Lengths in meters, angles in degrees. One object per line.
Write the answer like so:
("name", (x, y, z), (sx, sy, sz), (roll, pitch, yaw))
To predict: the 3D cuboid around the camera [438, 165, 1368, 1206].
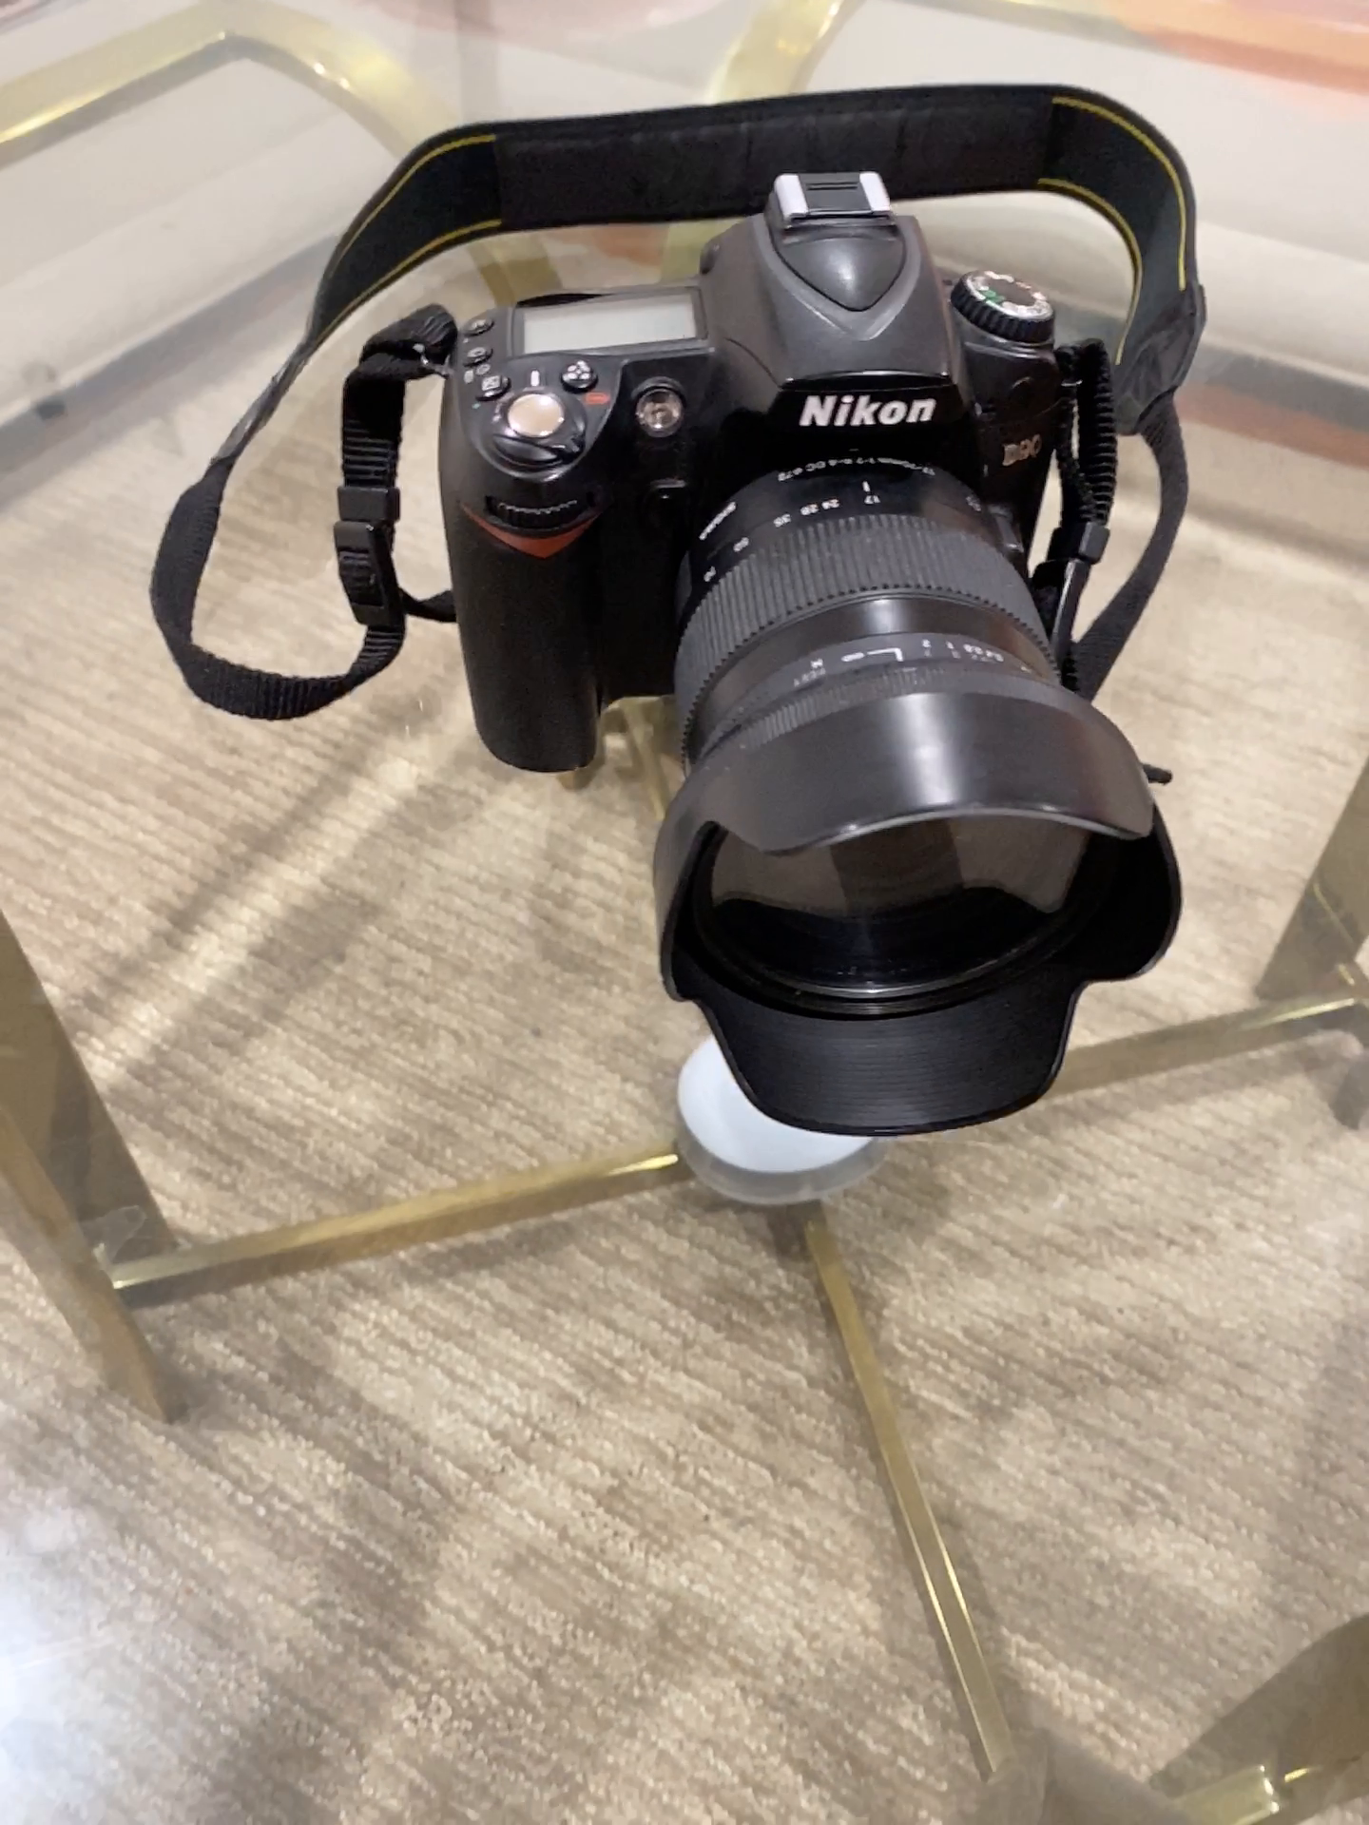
("camera", (0.022, -0.055, 0.294), (0.130, 0.119, 0.181), (-5, 49, -5))
